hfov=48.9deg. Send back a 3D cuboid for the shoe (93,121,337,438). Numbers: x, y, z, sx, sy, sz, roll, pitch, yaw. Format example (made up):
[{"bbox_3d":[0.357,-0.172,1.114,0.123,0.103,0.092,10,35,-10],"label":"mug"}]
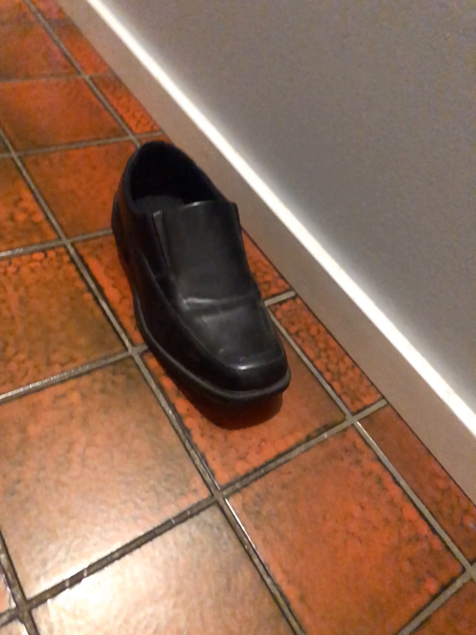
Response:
[{"bbox_3d":[-0.043,-0.056,0.499,0.120,0.100,0.301,-10,55,-24],"label":"shoe"}]
